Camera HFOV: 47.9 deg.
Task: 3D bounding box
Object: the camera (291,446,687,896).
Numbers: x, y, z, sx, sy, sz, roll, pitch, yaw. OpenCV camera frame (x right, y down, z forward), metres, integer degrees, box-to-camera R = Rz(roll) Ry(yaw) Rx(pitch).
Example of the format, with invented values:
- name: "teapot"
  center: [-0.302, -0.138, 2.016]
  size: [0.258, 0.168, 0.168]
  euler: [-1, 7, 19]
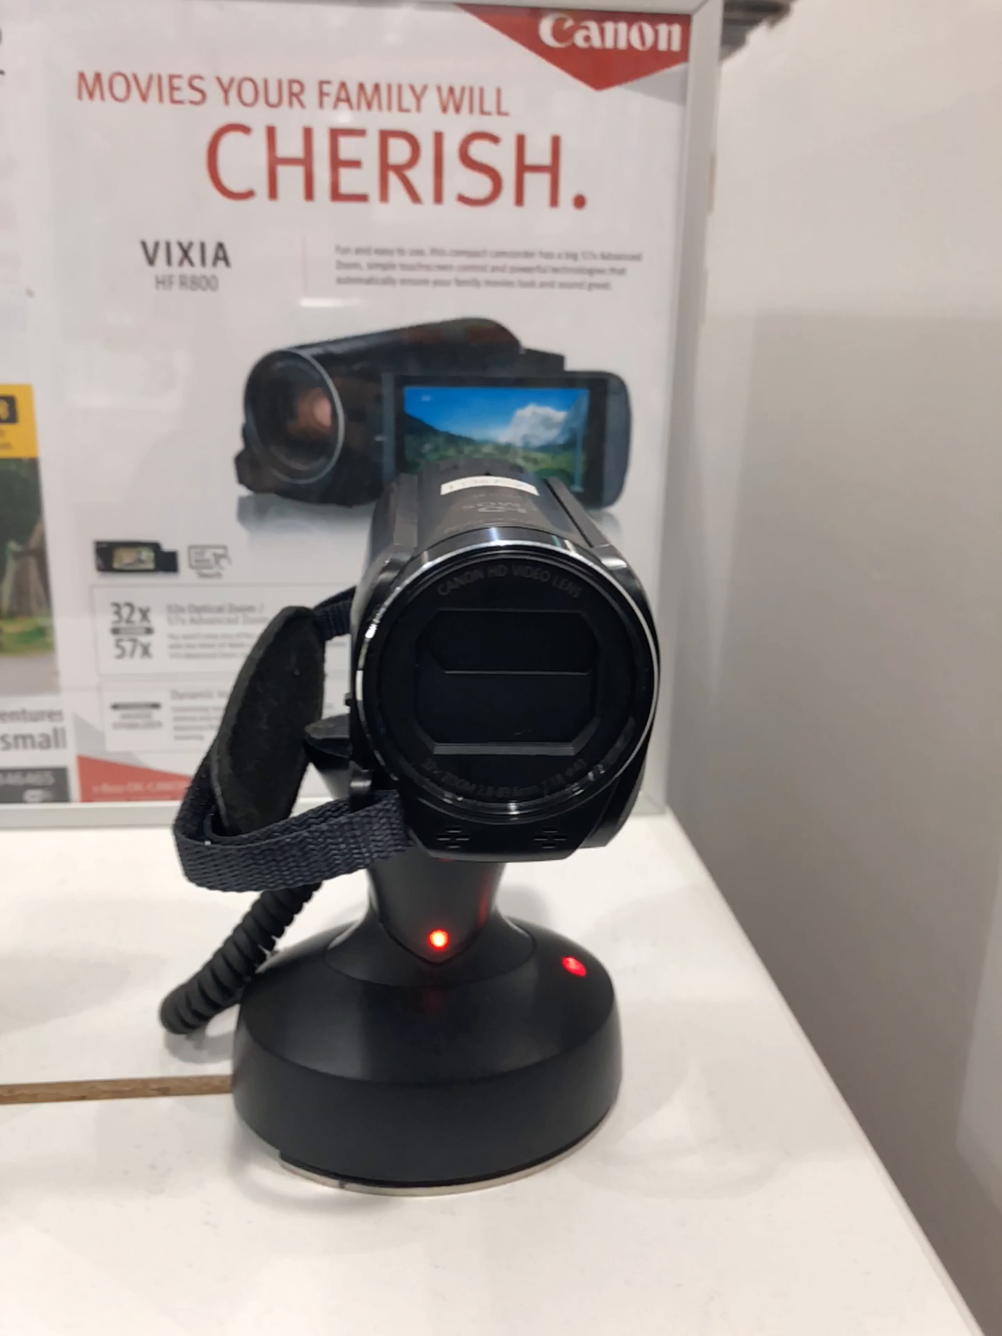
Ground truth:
- name: "camera"
  center: [-0.007, -0.010, 0.241]
  size: [0.060, 0.060, 0.130]
  euler: [0, 17, -5]
